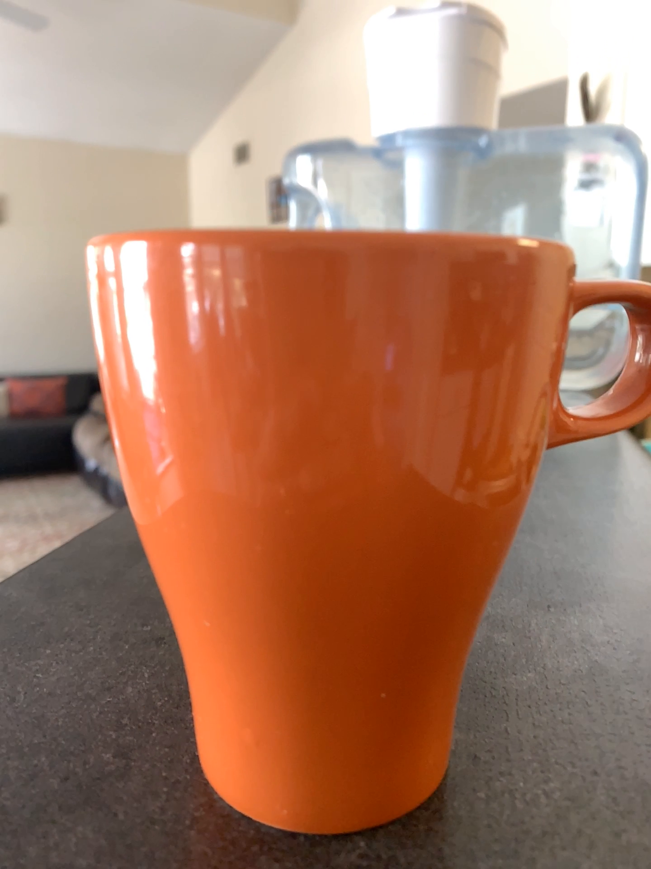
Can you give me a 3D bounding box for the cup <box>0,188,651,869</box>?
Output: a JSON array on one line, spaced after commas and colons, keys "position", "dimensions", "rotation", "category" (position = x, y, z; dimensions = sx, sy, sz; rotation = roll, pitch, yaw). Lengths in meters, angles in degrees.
[{"position": [0.021, 0.009, 0.126], "dimensions": [0.120, 0.090, 0.080], "rotation": [-1, 12, -6], "category": "cup"}]
